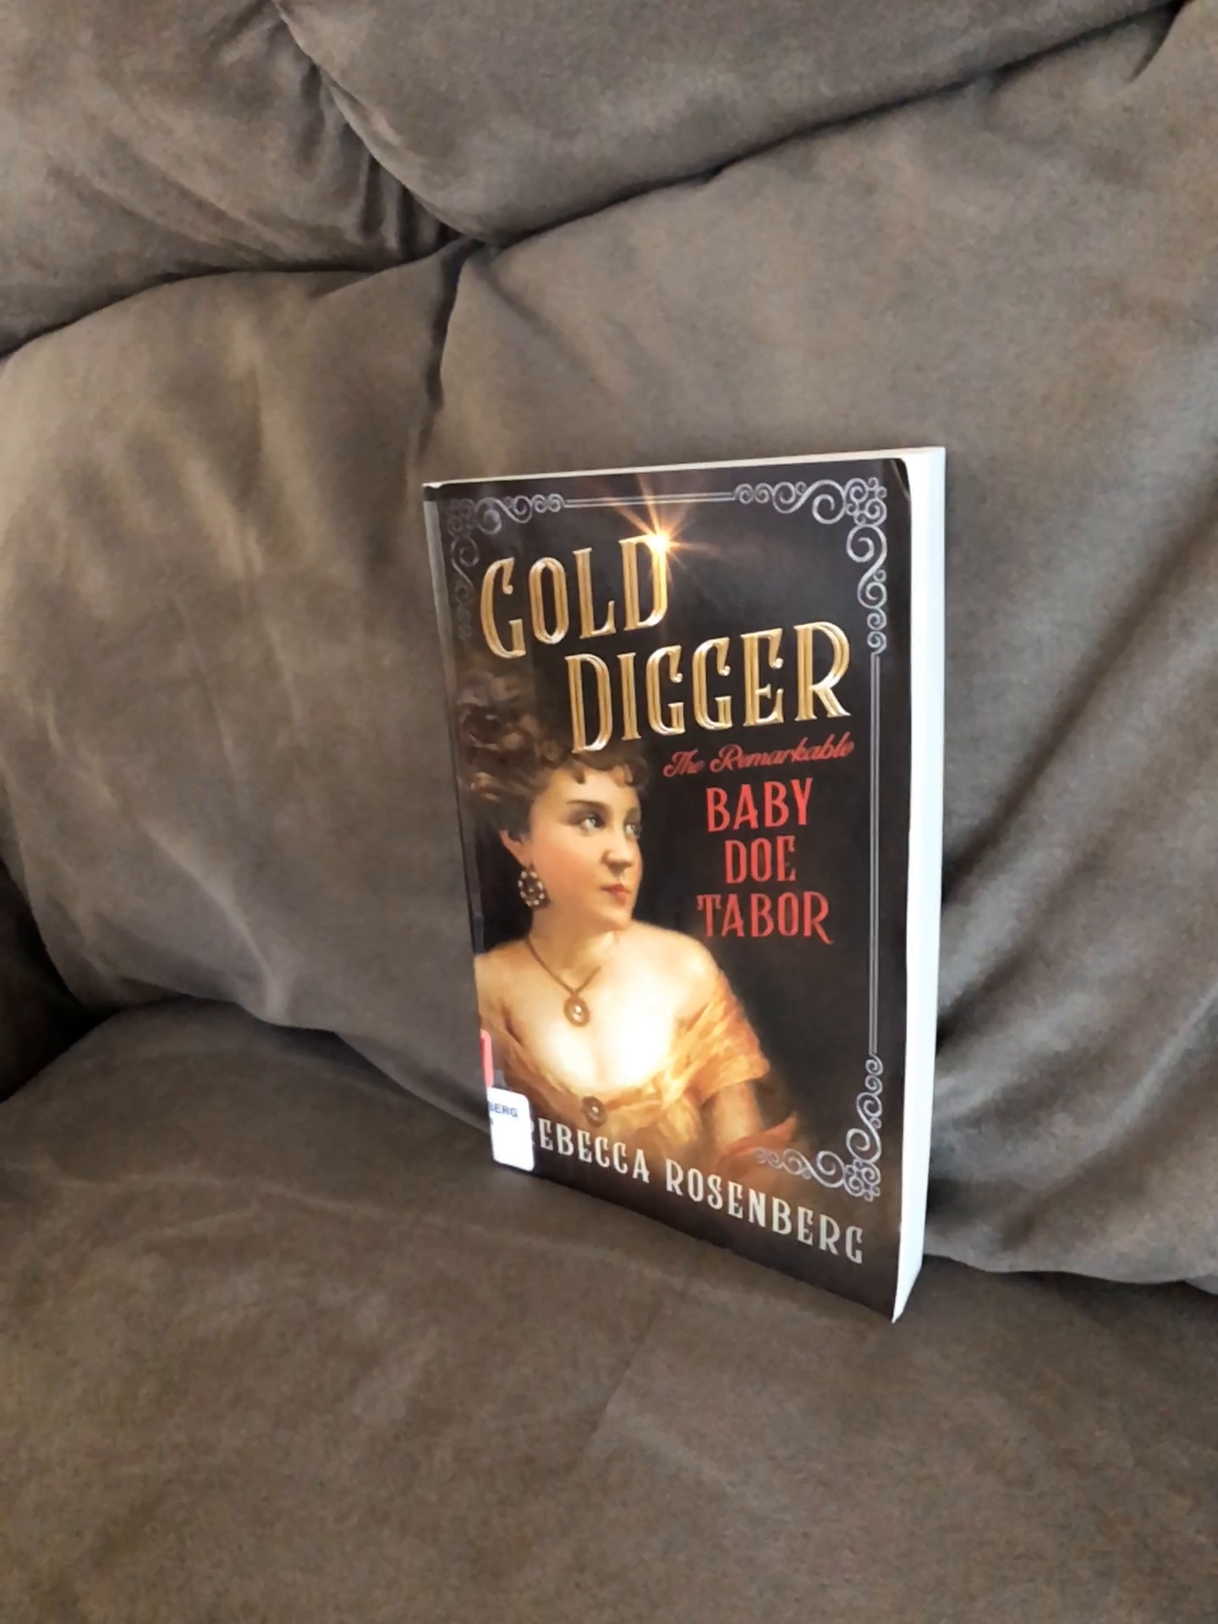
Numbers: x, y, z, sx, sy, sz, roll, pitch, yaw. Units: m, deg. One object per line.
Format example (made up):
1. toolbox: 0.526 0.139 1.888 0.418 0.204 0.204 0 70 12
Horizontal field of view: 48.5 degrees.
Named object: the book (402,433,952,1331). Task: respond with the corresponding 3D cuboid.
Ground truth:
1. book: 0.012 0.011 0.353 0.150 0.200 0.030 9 15 42
